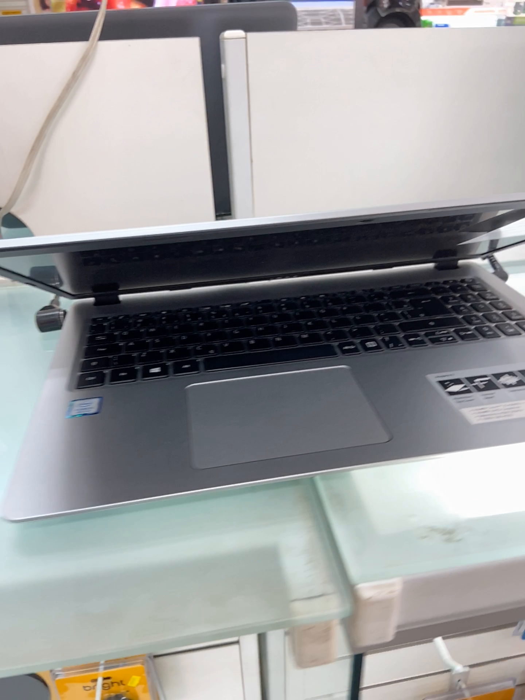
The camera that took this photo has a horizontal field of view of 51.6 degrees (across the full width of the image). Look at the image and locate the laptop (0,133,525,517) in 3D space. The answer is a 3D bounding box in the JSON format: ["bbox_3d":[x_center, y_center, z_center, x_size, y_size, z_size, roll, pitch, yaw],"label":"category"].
[{"bbox_3d":[0.036,-0.055,0.353,0.364,0.116,0.246,-7,29,-9],"label":"laptop"}]
